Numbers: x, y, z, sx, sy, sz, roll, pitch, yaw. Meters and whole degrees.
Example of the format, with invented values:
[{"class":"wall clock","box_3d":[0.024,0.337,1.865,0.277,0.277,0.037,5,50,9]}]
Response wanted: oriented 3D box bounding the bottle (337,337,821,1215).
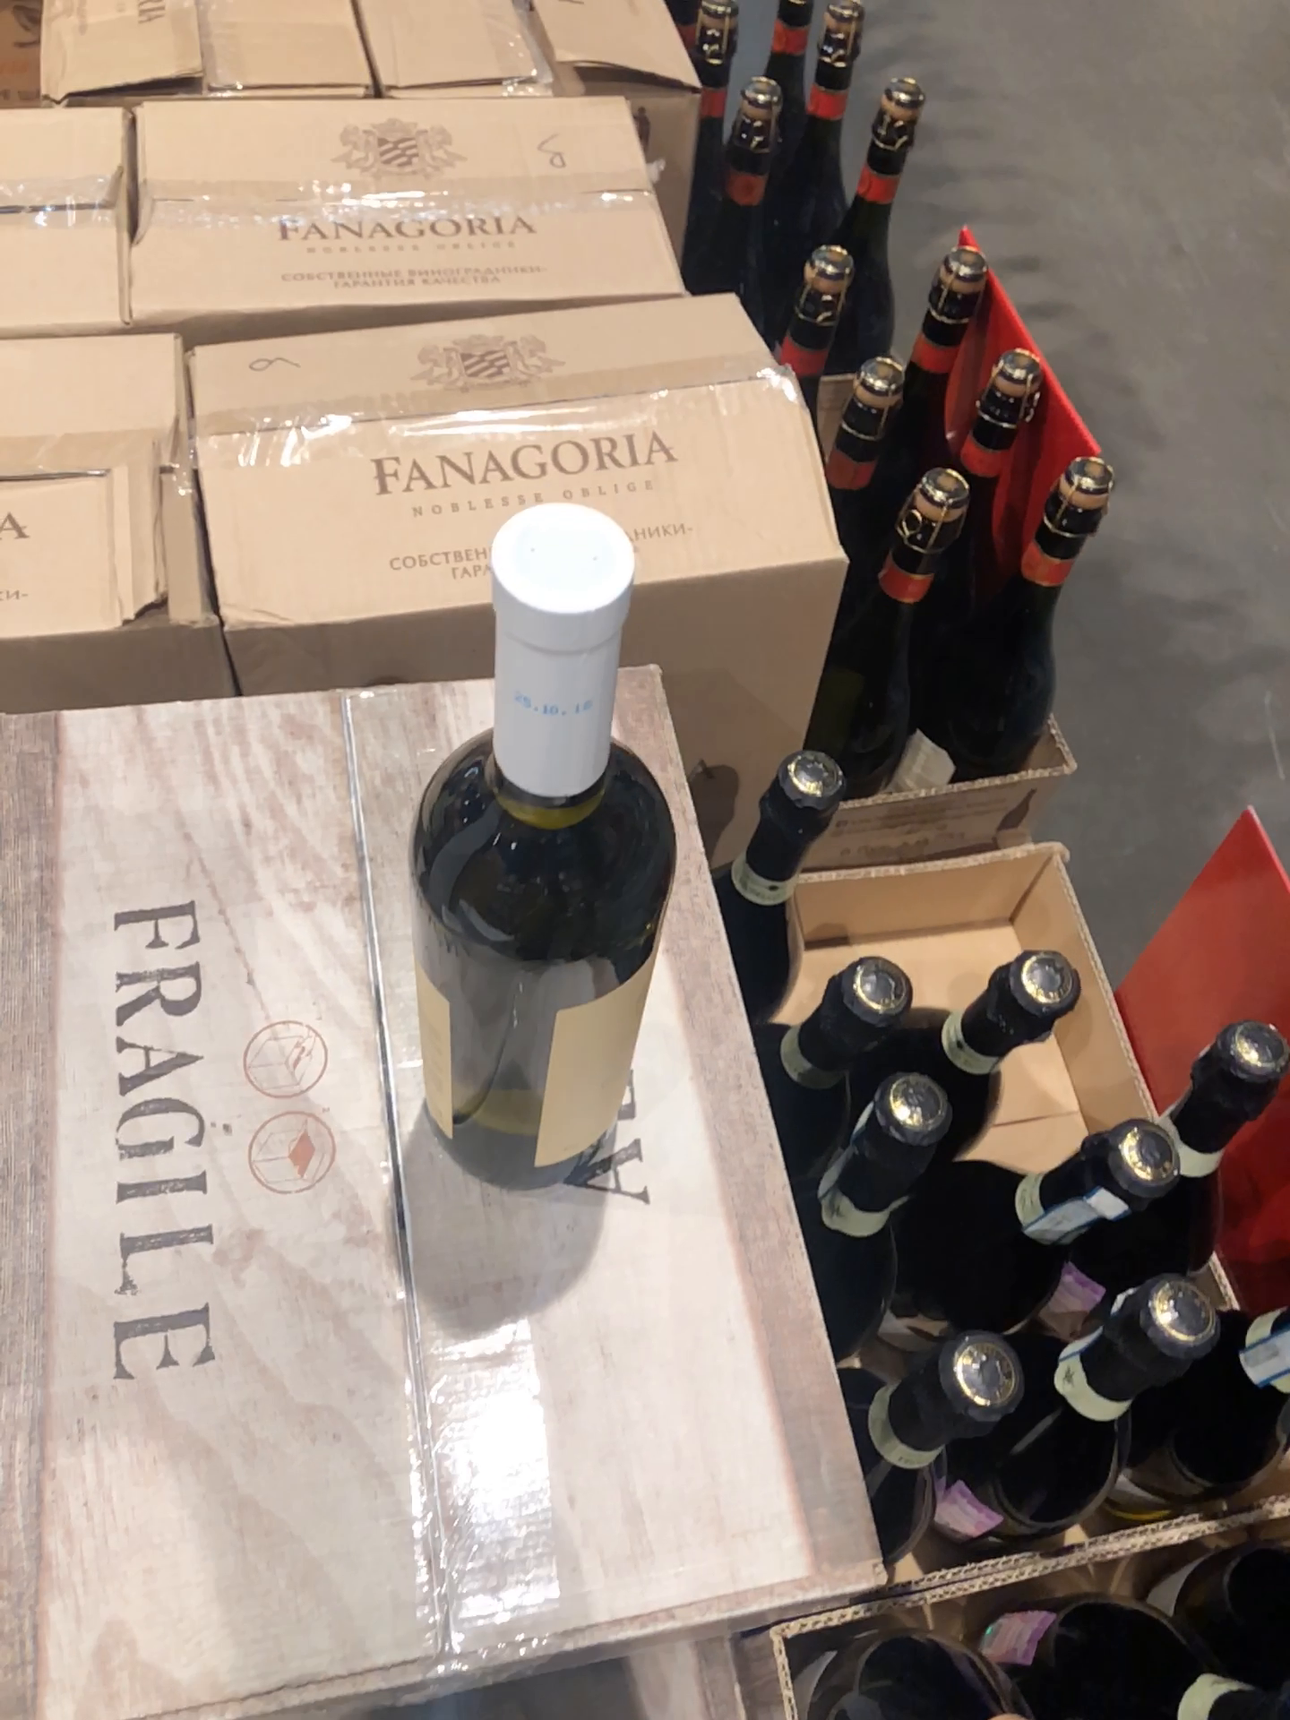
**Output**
[{"class":"bottle","box_3d":[-0.026,0.006,0.427,0.080,0.299,0.090,16,58,3]}]
